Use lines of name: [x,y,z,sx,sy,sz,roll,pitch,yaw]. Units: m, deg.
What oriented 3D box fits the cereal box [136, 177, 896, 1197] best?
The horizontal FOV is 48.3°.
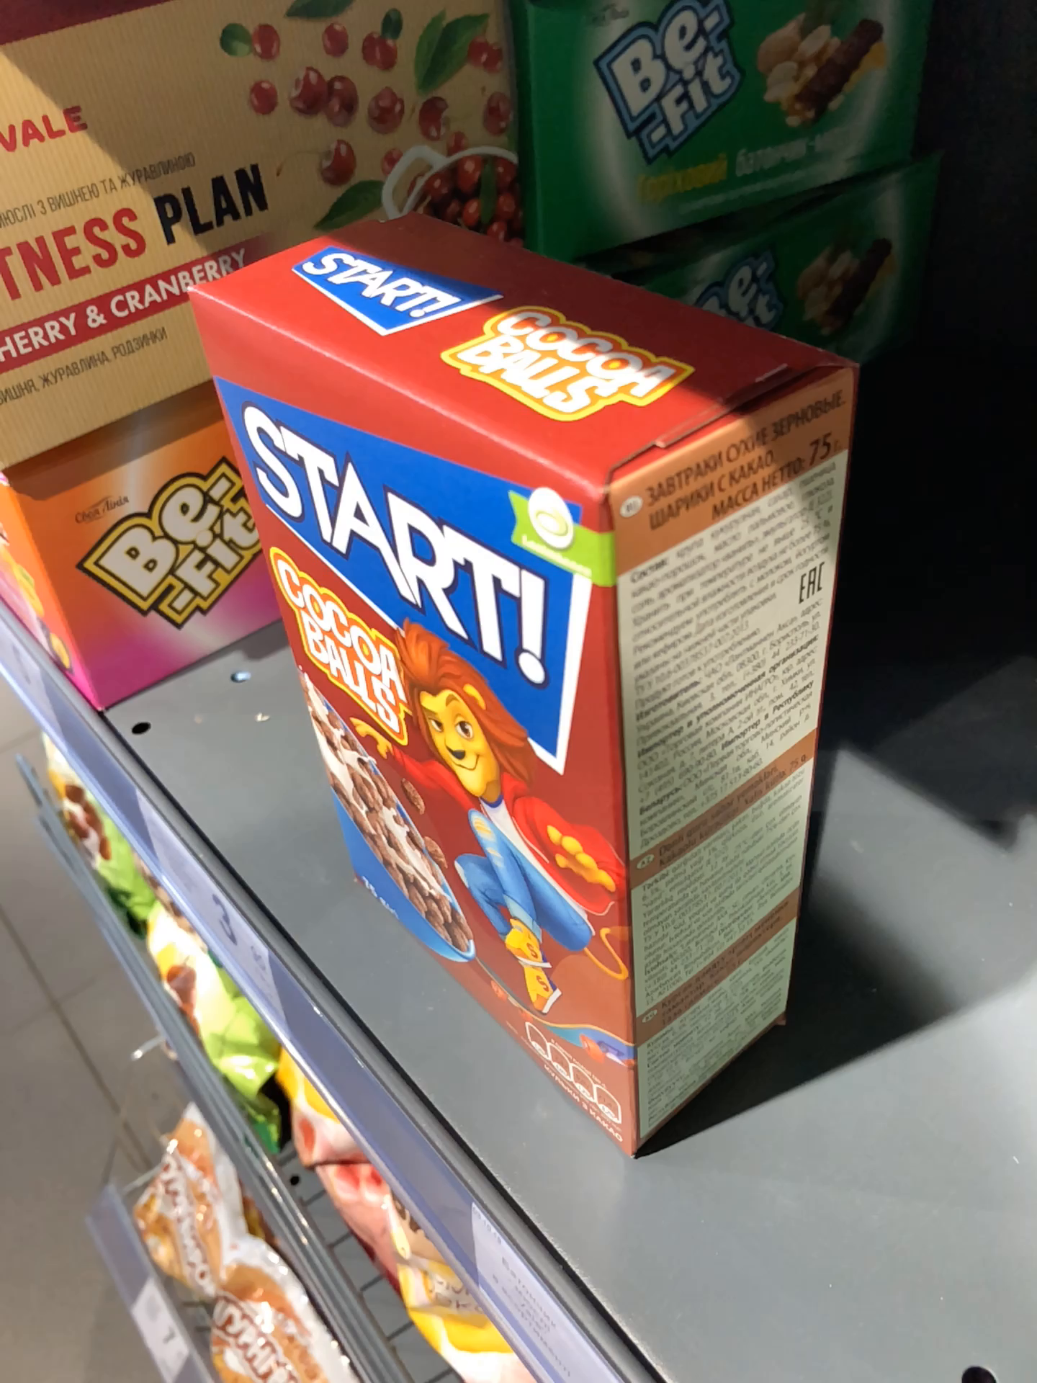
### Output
cereal box: [0.002,0.003,0.233,0.060,0.169,0.110,-33,47,-26]
